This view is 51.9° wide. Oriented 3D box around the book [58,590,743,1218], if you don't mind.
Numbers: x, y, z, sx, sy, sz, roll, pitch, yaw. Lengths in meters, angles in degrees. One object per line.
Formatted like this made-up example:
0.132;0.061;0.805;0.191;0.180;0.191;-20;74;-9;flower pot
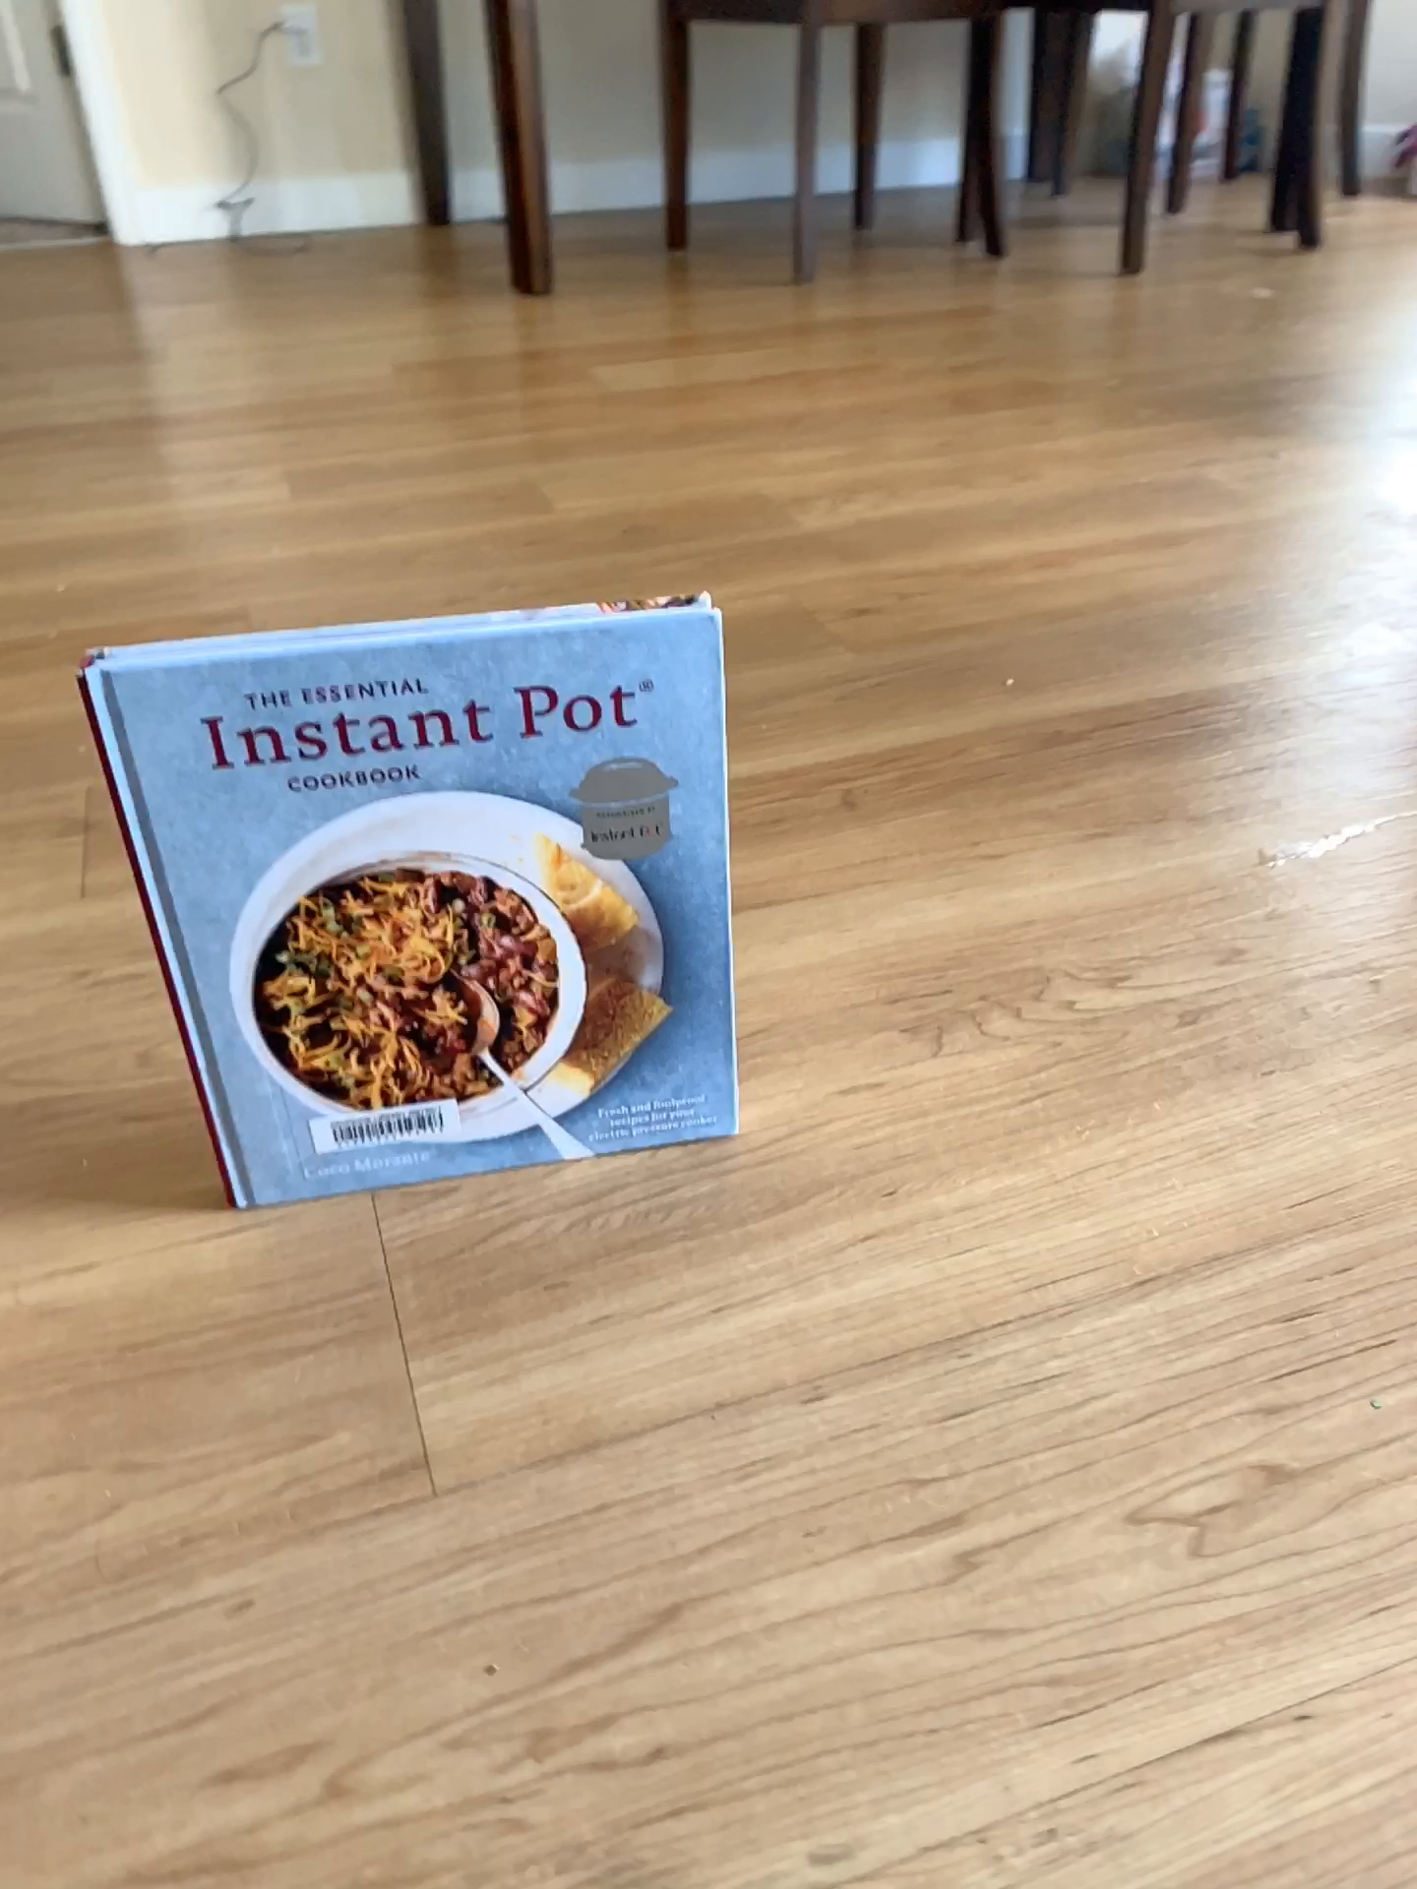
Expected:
-0.105;-0.009;0.580;0.230;0.239;0.030;-7;31;-8;book
